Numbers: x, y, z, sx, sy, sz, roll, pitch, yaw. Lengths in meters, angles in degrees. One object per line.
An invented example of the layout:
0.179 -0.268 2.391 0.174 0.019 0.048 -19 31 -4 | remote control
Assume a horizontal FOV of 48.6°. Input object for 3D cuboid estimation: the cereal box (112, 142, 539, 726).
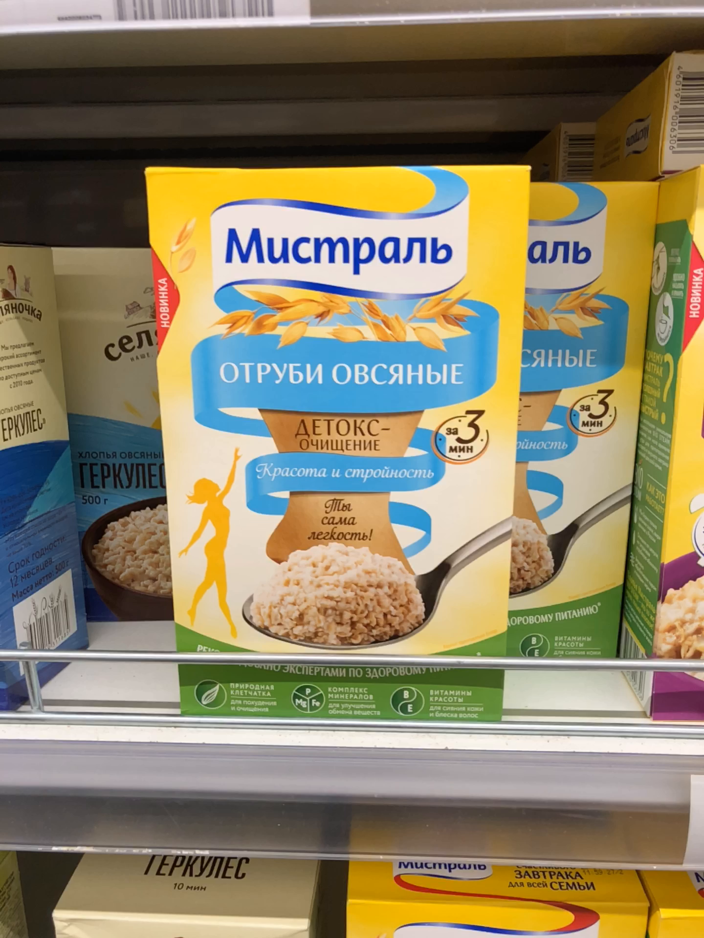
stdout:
-0.006 -0.009 0.304 0.140 0.209 0.050 0 14 5 | cereal box
